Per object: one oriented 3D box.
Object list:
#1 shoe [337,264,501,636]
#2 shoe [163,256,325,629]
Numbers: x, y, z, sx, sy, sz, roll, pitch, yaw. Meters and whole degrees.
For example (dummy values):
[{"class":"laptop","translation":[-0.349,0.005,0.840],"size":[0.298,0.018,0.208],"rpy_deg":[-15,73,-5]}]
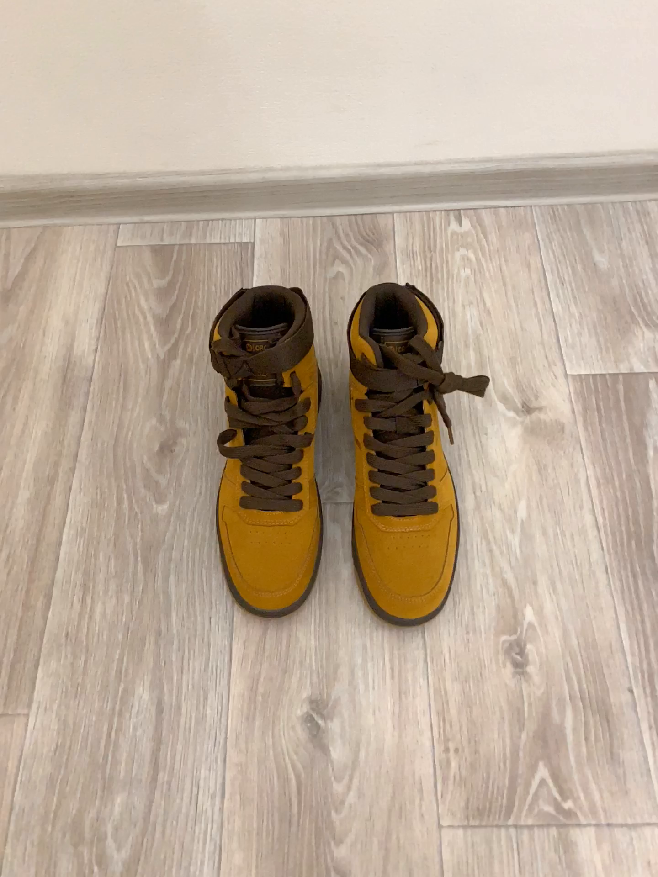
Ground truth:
[{"class":"shoe","translation":[0.062,0.009,0.573],"size":[0.101,0.140,0.281],"rpy_deg":[-2,62,1]},{"class":"shoe","translation":[-0.059,0.002,0.571],"size":[0.101,0.140,0.281],"rpy_deg":[-2,62,1]}]
